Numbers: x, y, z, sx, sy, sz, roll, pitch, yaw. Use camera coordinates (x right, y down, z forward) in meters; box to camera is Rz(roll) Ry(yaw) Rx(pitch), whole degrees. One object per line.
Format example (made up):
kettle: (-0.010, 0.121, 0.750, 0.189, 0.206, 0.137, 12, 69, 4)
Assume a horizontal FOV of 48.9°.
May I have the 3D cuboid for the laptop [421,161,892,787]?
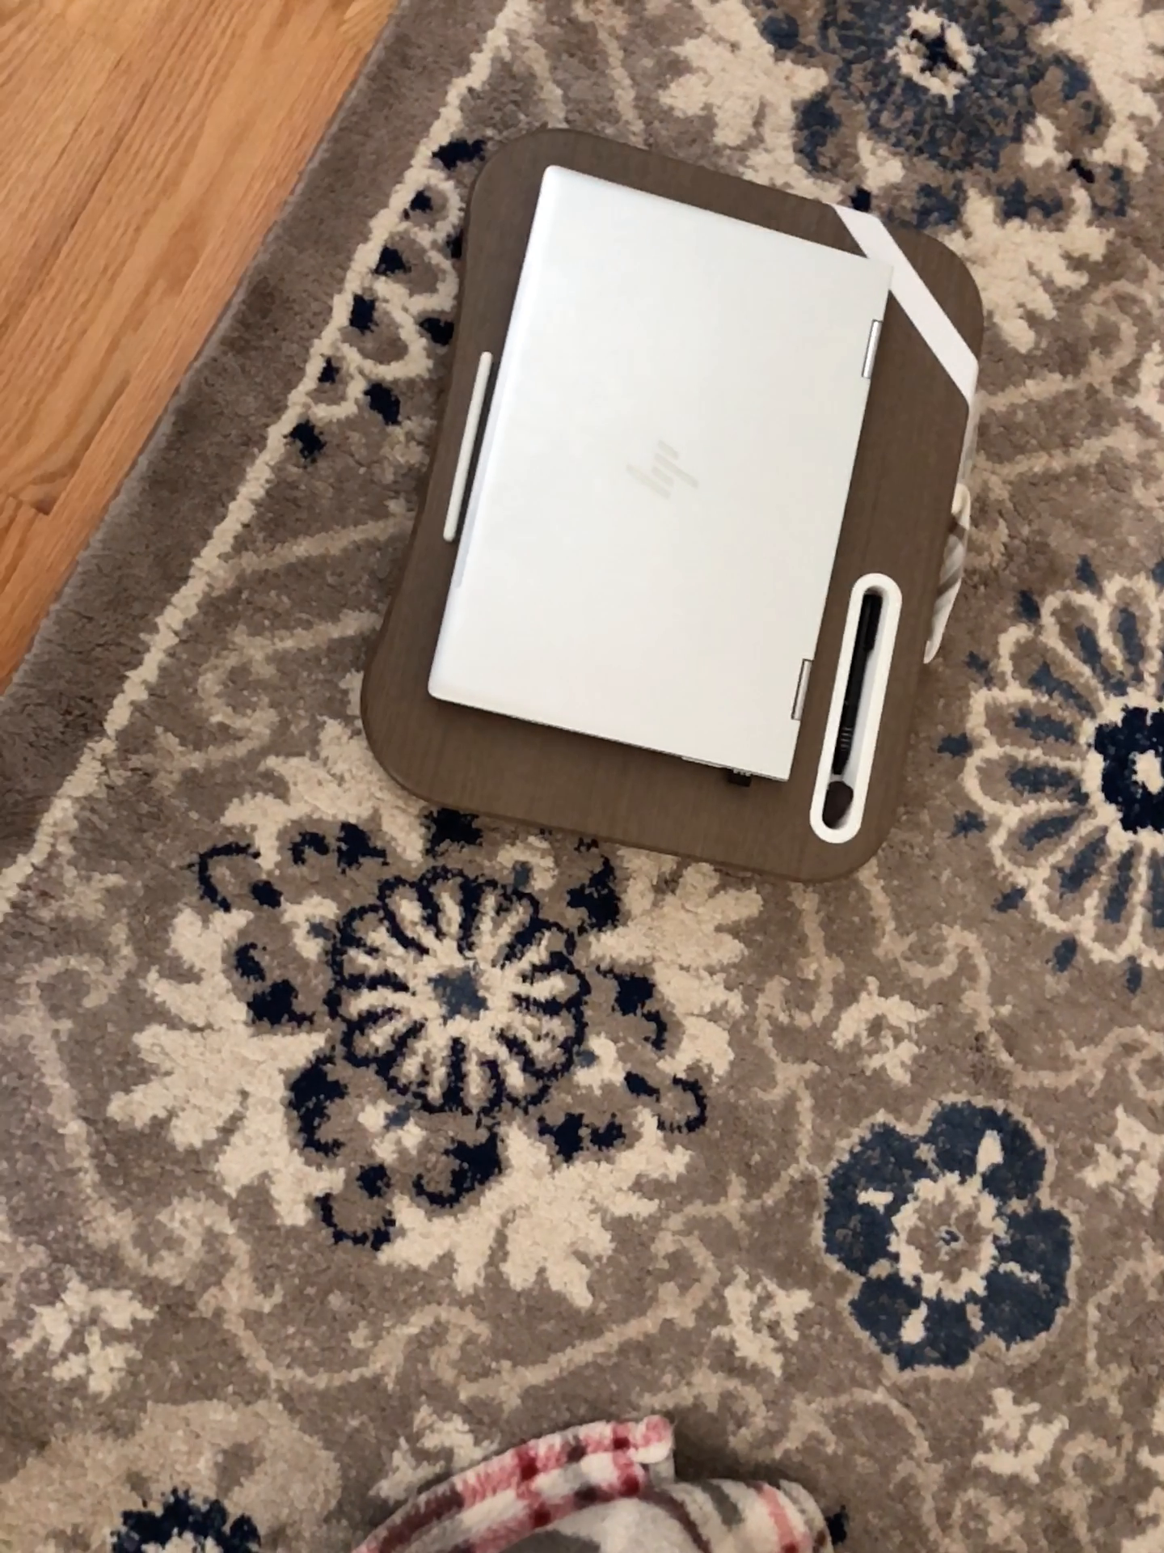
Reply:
laptop: (0.054, -0.194, 0.834, 0.241, 0.026, 0.354, 13, 83, -10)
